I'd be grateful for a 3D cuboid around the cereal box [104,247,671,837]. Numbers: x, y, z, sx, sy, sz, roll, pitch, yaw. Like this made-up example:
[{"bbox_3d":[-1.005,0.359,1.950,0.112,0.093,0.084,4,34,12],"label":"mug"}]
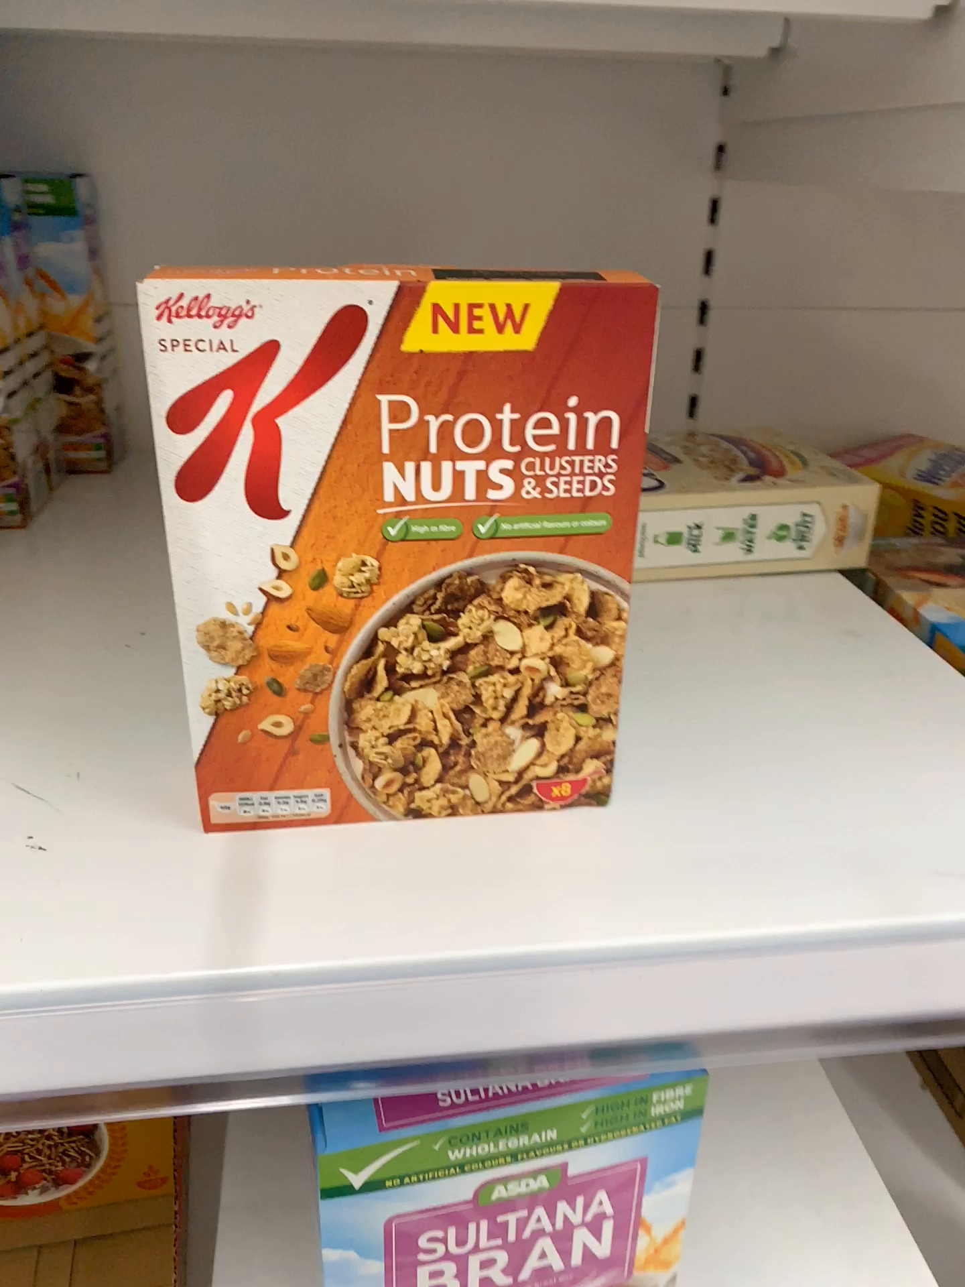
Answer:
[{"bbox_3d":[-0.037,-0.041,0.434,0.200,0.238,0.071,-2,25,-7],"label":"cereal box"}]
